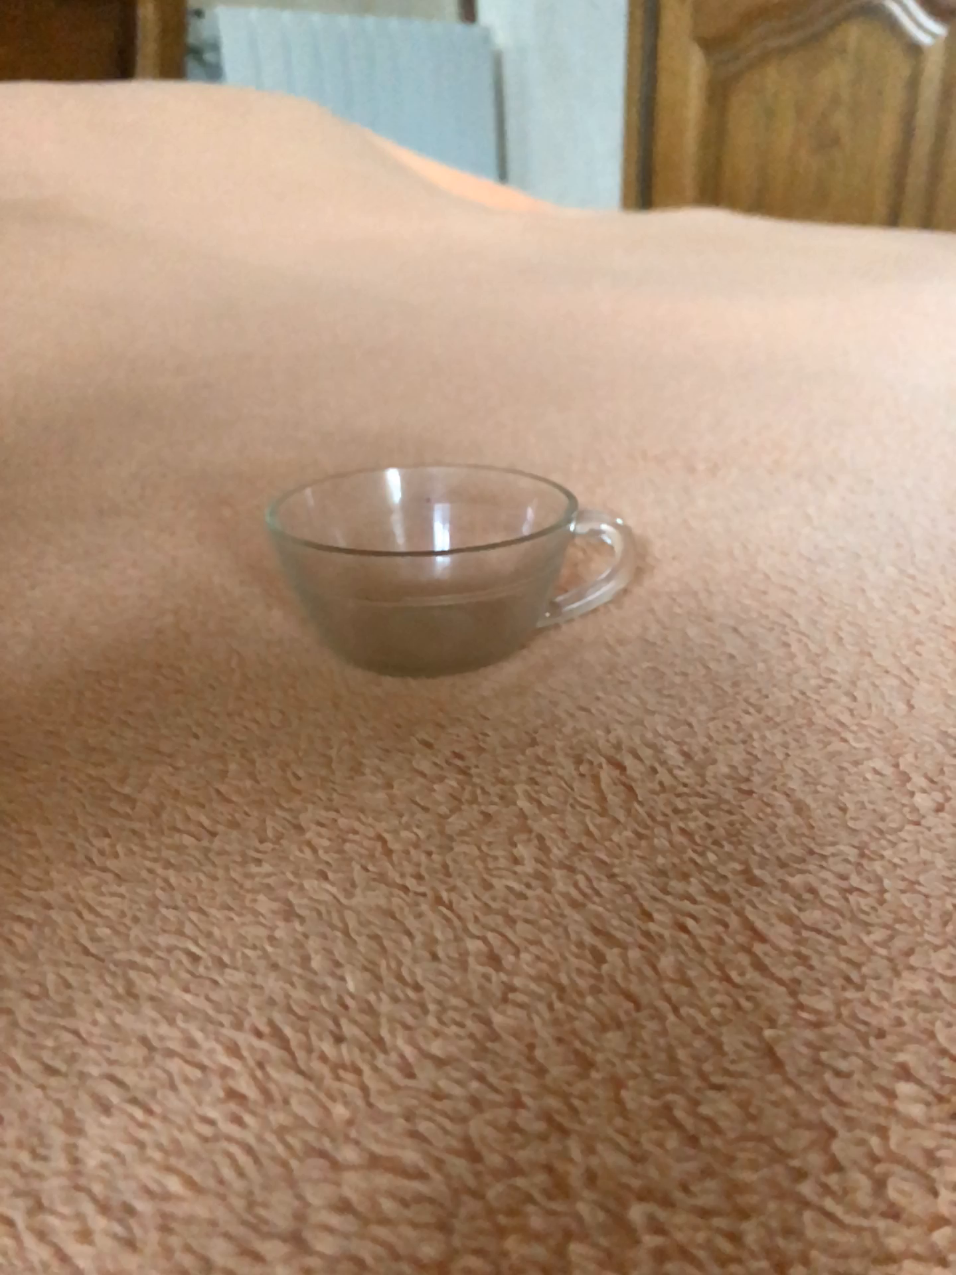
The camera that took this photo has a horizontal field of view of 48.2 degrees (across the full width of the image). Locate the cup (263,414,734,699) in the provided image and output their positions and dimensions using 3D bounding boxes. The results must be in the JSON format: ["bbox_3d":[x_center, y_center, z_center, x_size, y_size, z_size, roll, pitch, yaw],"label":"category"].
[{"bbox_3d":[0.000,-0.028,0.295,0.110,0.040,0.090,-5,26,-7],"label":"cup"}]
